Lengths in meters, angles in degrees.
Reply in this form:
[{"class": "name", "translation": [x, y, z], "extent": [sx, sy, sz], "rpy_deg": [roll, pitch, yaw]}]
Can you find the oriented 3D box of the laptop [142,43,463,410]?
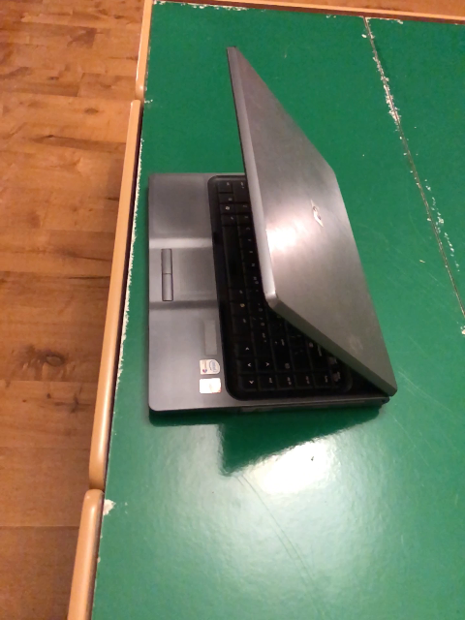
[{"class": "laptop", "translation": [0.030, -0.089, 0.508], "extent": [0.226, 0.171, 0.317], "rpy_deg": [-2, 57, -7]}]
